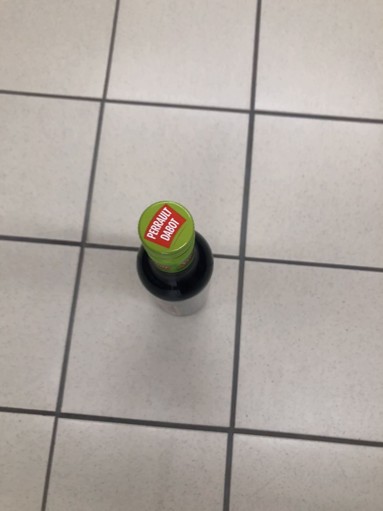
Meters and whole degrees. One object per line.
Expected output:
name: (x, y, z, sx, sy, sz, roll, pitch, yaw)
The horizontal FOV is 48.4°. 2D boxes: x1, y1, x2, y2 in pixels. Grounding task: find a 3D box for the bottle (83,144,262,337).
bottle: (-0.010, 0.016, 0.376, 0.070, 0.290, 0.070, 0, 77, 0)
